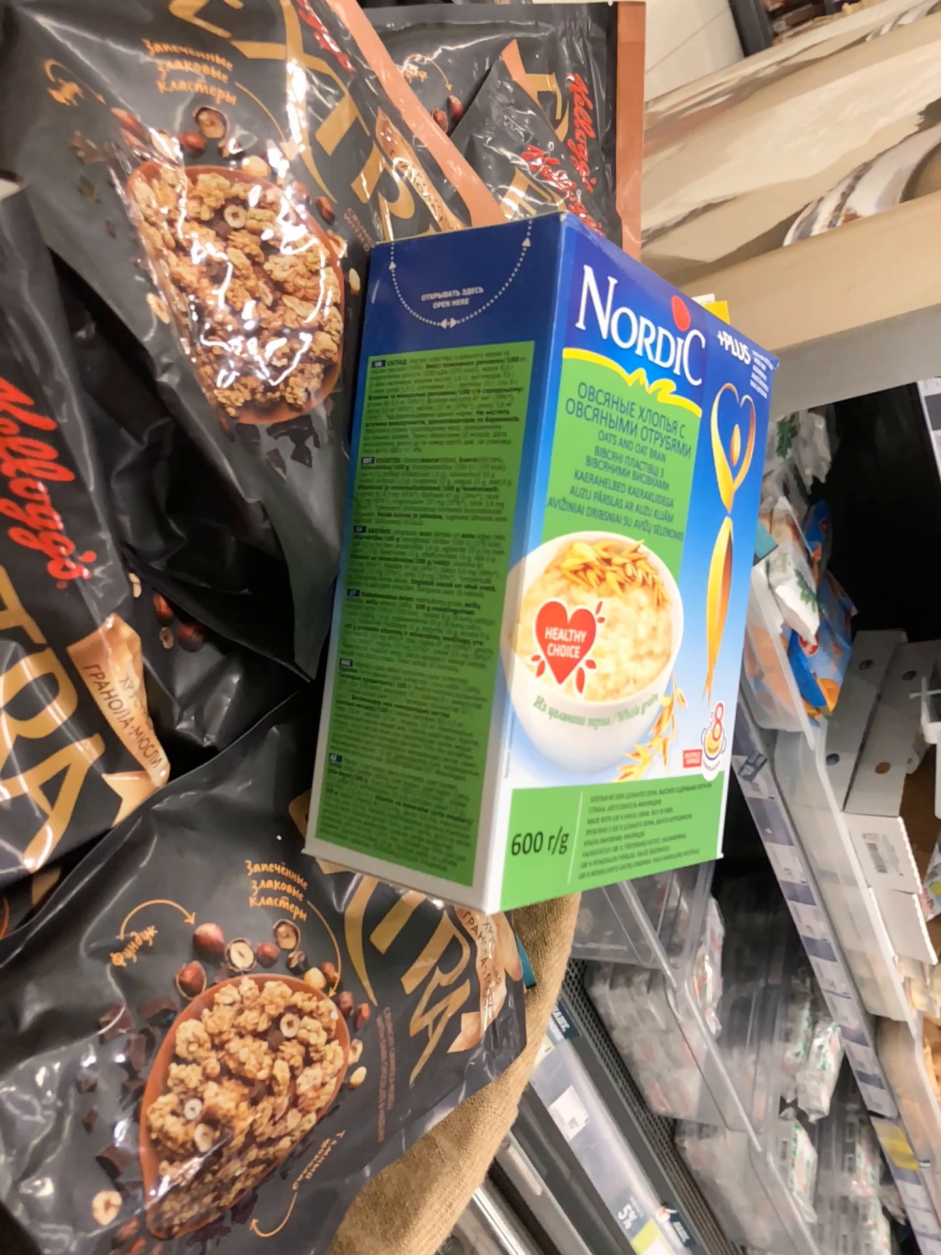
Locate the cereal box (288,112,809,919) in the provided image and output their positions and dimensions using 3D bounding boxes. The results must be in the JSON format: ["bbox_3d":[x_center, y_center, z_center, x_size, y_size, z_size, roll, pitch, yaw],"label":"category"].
[{"bbox_3d":[0.036,-0.028,0.355,0.161,0.080,0.210,5,91,-51],"label":"cereal box"}]
